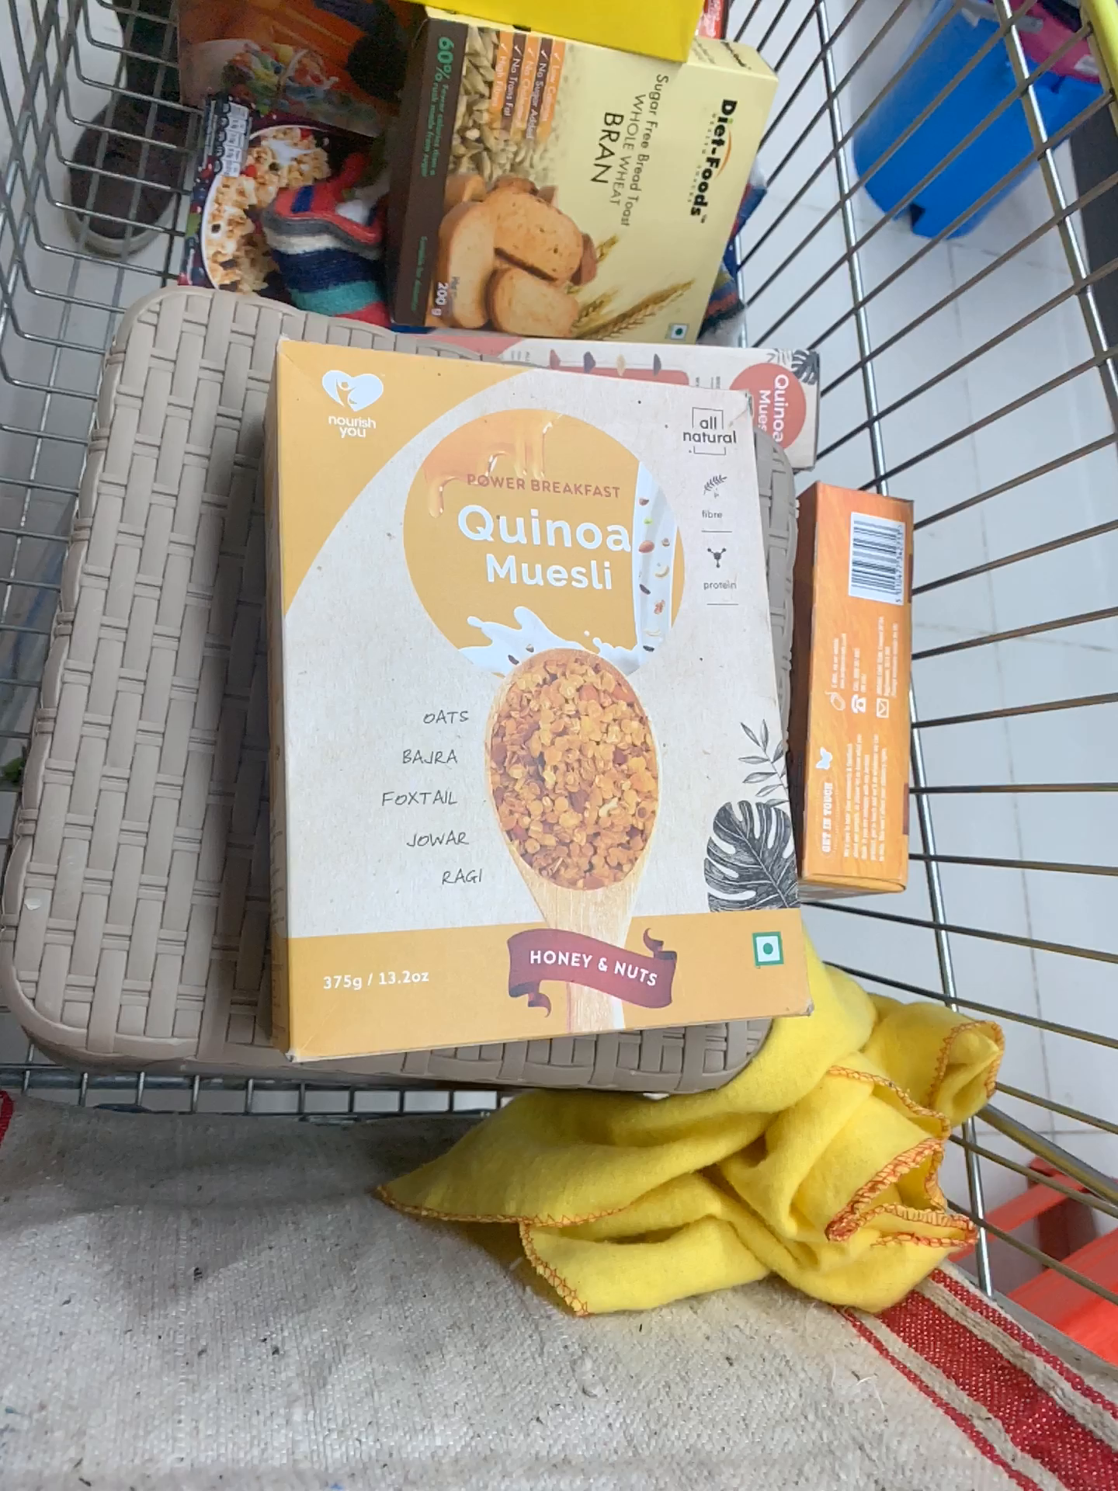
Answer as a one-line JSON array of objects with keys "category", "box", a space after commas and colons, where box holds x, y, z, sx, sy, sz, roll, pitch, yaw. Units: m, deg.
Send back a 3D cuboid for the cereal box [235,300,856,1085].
[{"category": "cereal box", "box": [-0.012, -0.012, 0.349, 0.160, 0.080, 0.200, 0, 79, -19]}]
